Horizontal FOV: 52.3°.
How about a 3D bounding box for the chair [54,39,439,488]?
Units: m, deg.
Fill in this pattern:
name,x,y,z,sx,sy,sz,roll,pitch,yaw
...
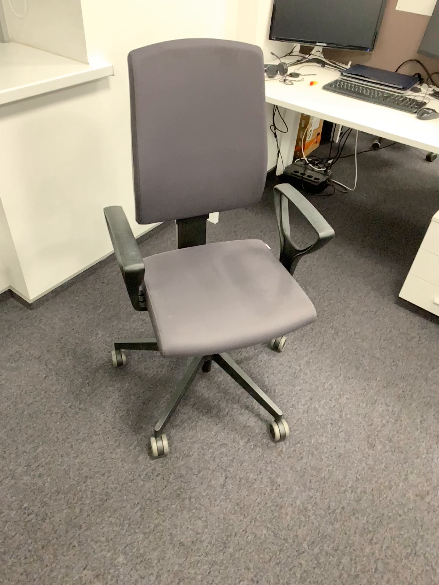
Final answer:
name,x,y,z,sx,sy,sz,roll,pitch,yaw
chair,-0.017,-0.106,1.384,0.701,1.044,0.753,-11,43,-18
